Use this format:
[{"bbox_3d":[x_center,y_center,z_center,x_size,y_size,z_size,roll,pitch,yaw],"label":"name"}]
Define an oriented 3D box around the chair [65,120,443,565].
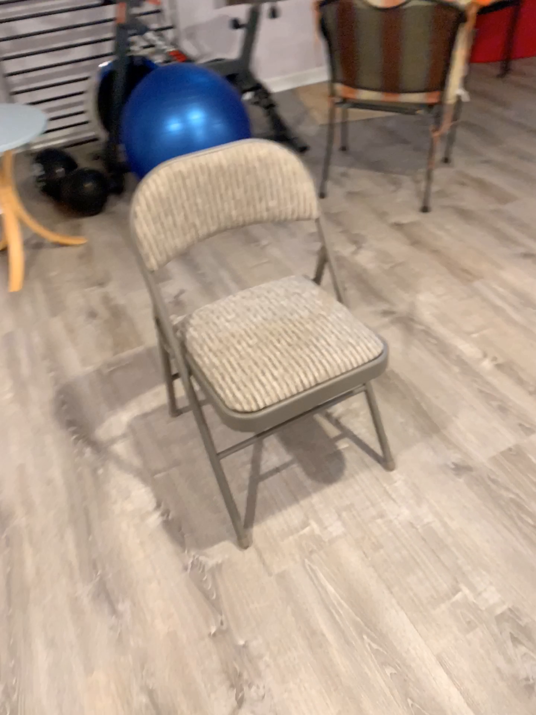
[{"bbox_3d":[-0.044,-0.048,1.288,0.502,0.708,0.588,-23,46,-19],"label":"chair"}]
